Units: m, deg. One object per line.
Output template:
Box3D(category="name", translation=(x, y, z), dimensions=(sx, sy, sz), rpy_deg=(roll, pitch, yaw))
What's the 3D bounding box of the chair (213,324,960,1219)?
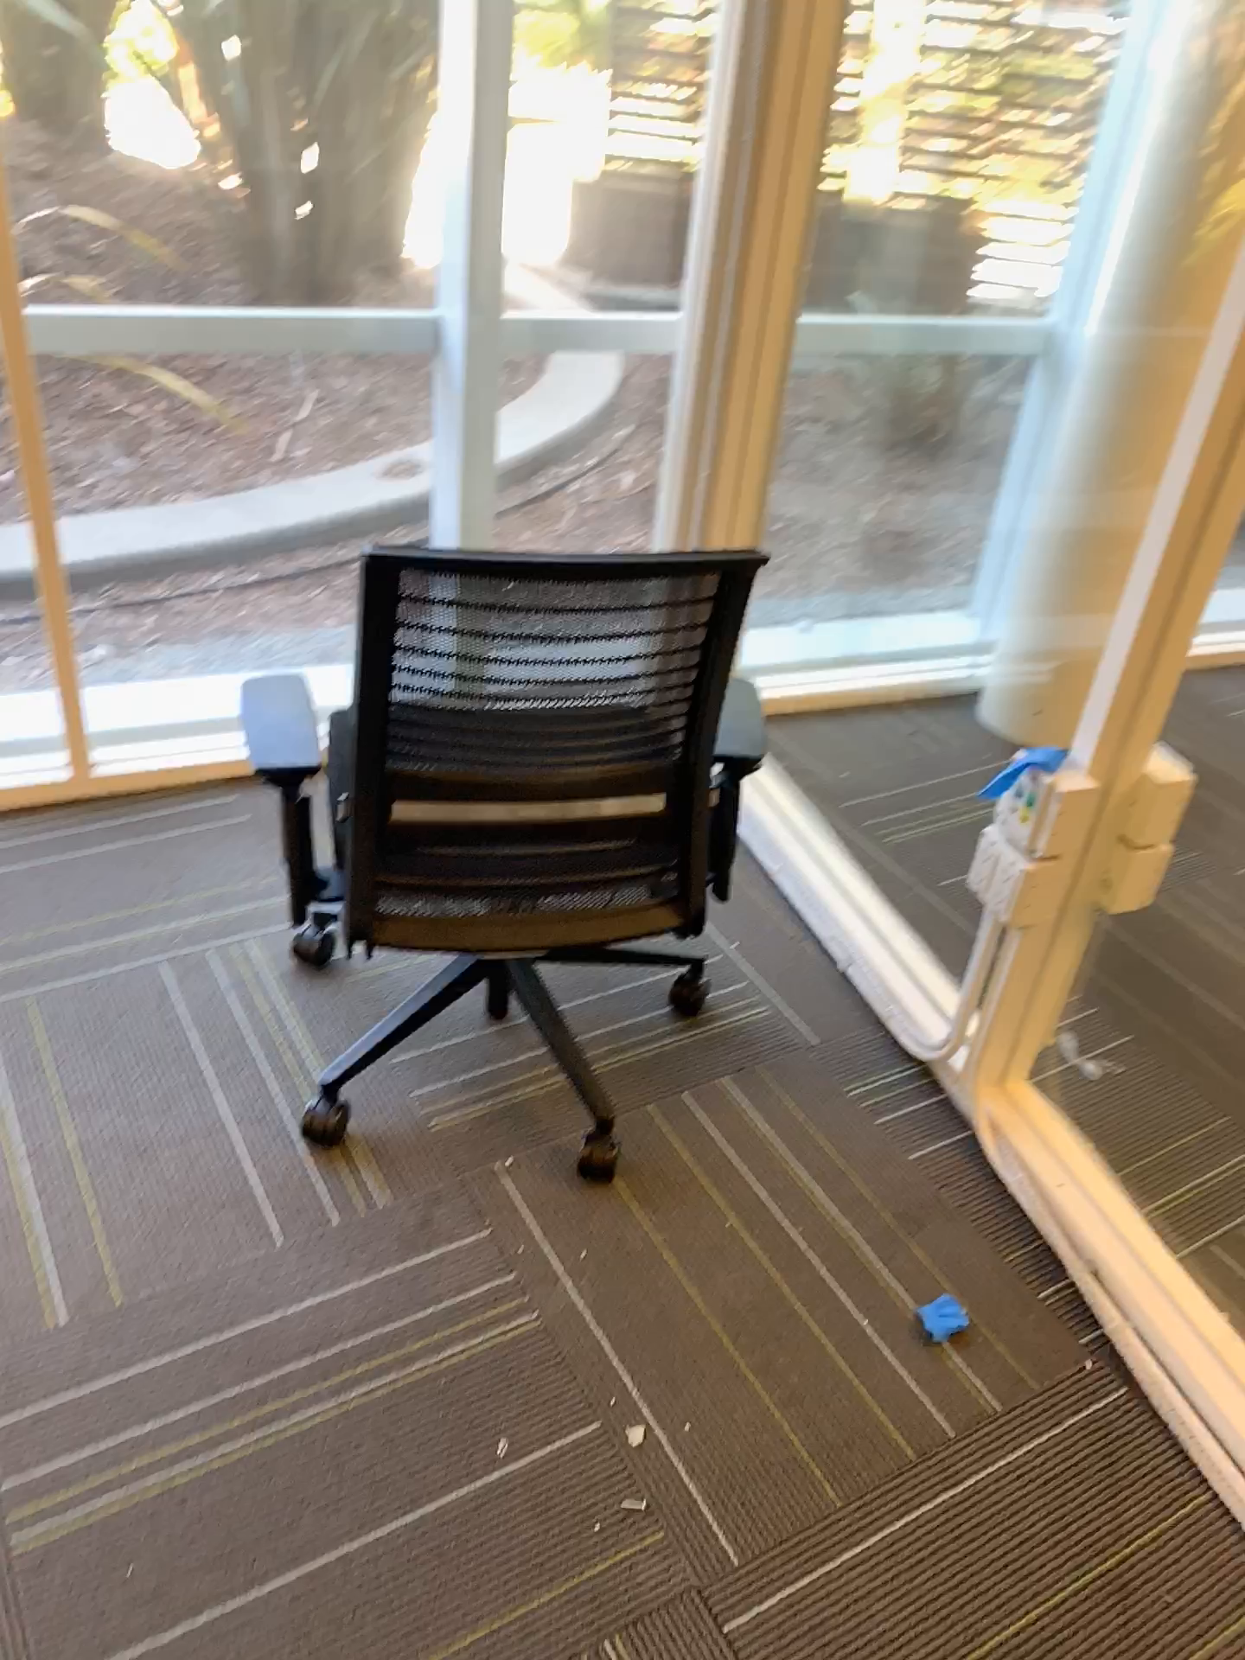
Box3D(category="chair", translation=(-0.128, -0.101, 1.717), dimensions=(0.700, 0.895, 0.735), rpy_deg=(-1, 34, -12))
